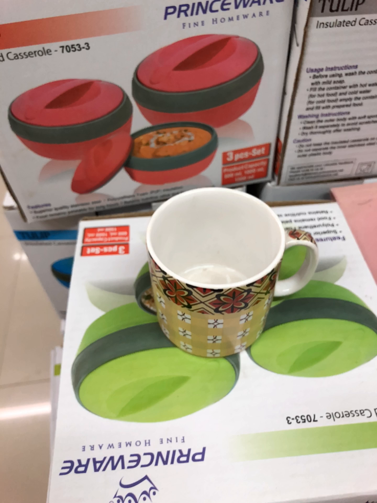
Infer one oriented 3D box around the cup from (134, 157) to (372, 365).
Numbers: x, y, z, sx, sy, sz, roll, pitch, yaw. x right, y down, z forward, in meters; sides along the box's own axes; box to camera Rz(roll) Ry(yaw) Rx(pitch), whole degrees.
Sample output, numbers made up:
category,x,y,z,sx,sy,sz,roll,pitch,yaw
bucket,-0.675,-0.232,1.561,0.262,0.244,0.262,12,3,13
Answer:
category,x,y,z,sx,sy,sz,roll,pitch,yaw
cup,0.028,0.005,0.254,0.110,0.080,0.080,-6,48,-4
